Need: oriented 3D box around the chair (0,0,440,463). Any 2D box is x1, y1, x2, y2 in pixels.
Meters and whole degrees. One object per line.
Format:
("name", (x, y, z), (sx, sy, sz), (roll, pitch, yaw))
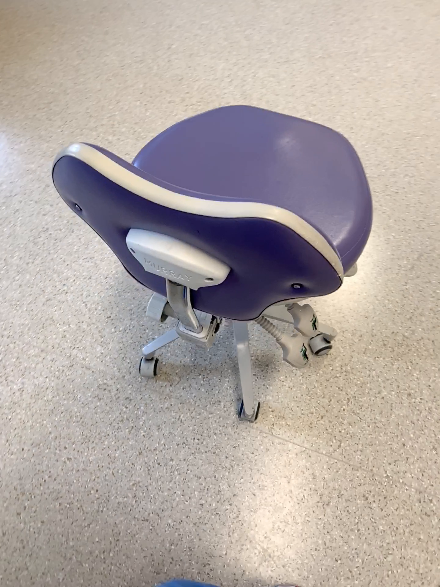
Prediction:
("chair", (0.087, -0.164, 0.858), (0.601, 0.825, 0.653), (19, 65, 10))
